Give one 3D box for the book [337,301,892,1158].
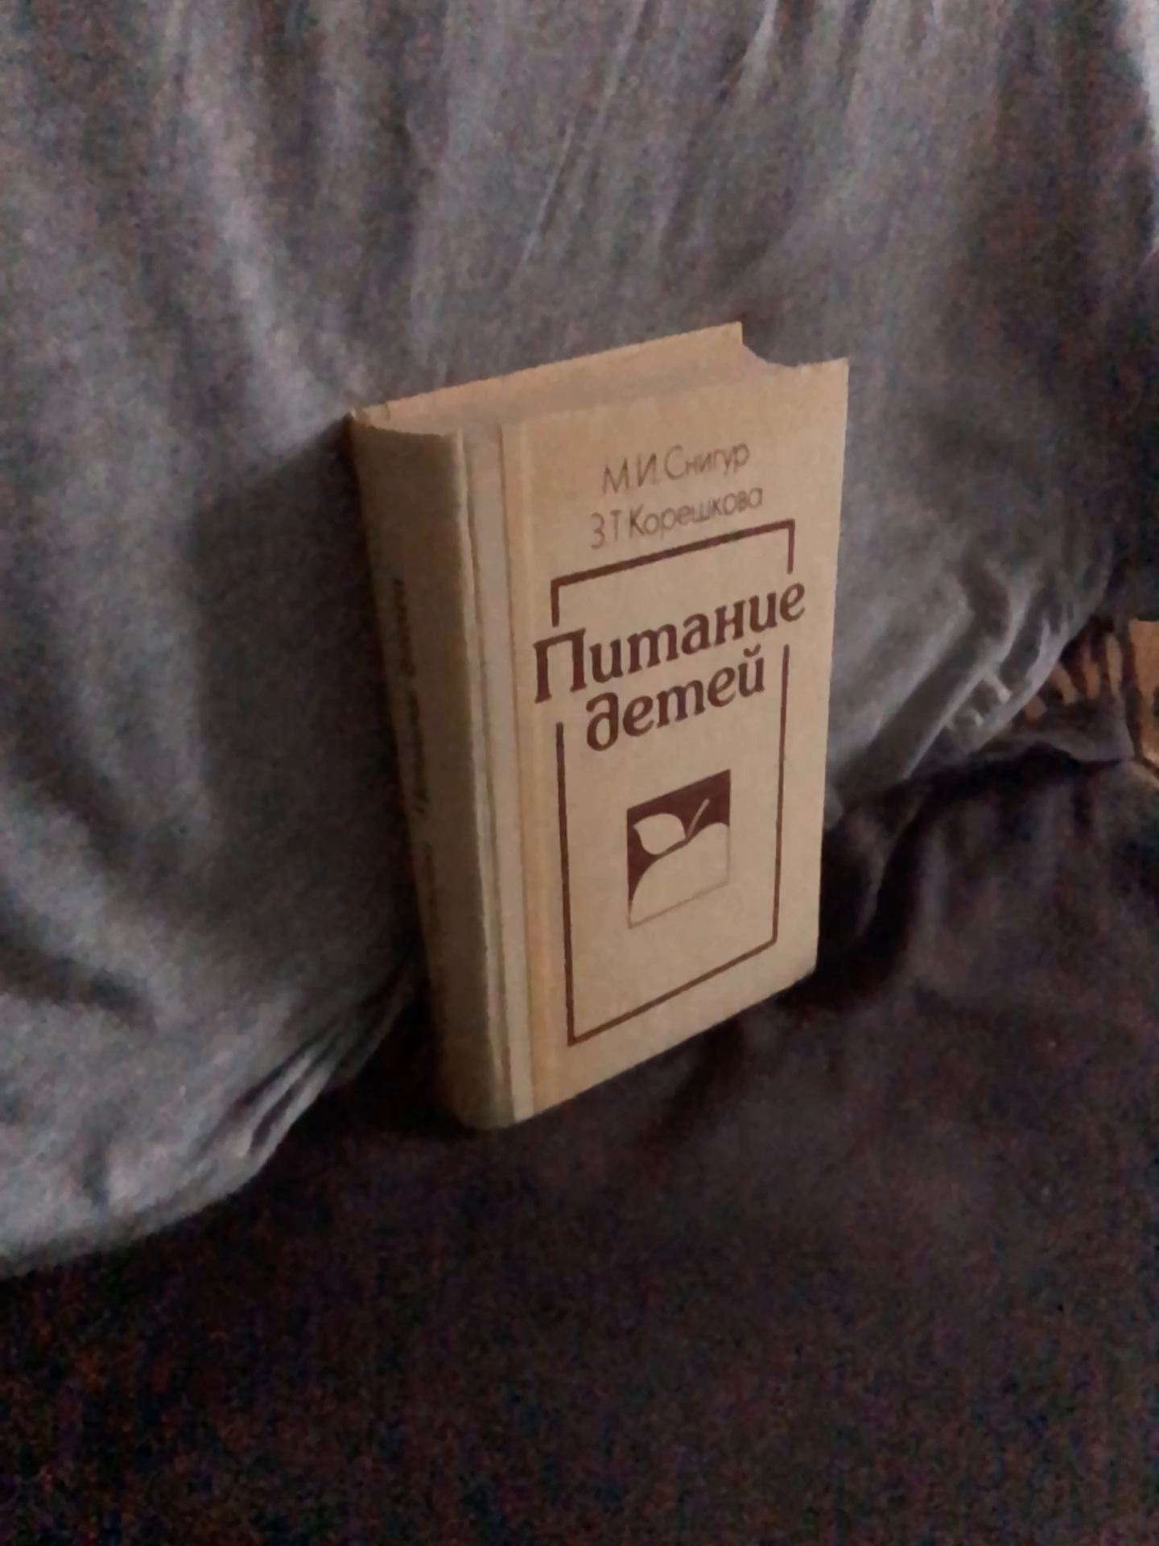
[{"bbox_3d":[0.018,-0.011,0.377,0.144,0.219,0.041,-21,34,-29],"label":"book"}]
